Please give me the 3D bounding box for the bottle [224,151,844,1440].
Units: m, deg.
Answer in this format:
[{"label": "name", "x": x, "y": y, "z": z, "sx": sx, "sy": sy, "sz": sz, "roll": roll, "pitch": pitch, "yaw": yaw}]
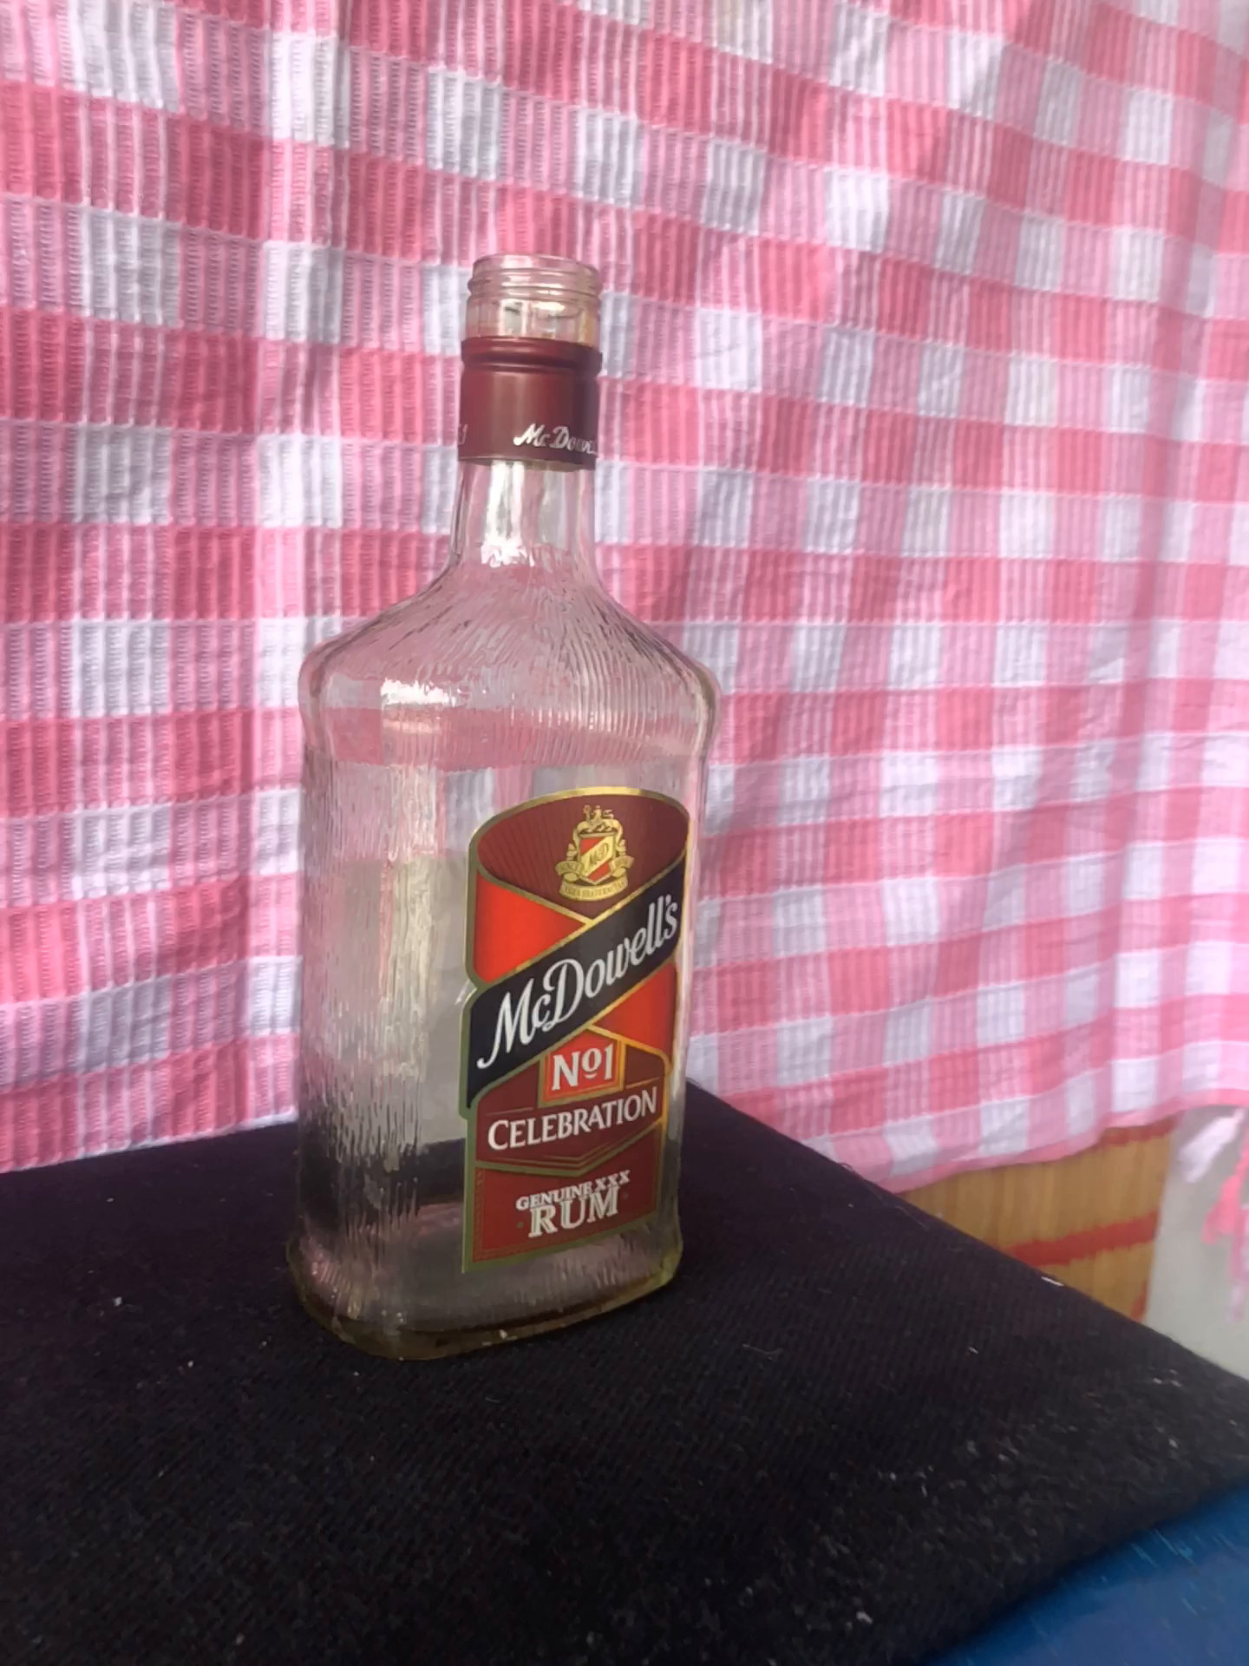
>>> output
[{"label": "bottle", "x": -0.023, "y": -0.005, "z": 0.307, "sx": 0.100, "sy": 0.239, "sz": 0.060, "roll": -3, "pitch": 14, "yaw": -39}]
